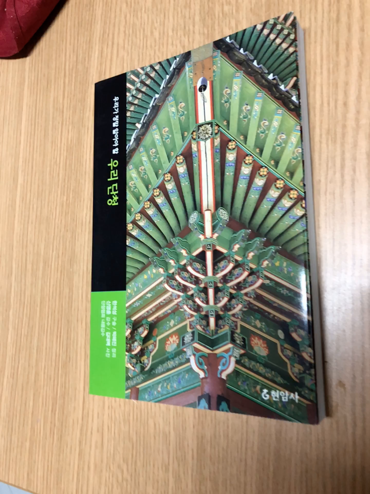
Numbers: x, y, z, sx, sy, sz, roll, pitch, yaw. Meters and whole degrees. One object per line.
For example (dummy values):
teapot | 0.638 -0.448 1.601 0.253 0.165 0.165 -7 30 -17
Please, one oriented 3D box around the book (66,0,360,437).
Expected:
book | 0.003 -0.018 0.234 0.160 0.030 0.210 -5 82 29
